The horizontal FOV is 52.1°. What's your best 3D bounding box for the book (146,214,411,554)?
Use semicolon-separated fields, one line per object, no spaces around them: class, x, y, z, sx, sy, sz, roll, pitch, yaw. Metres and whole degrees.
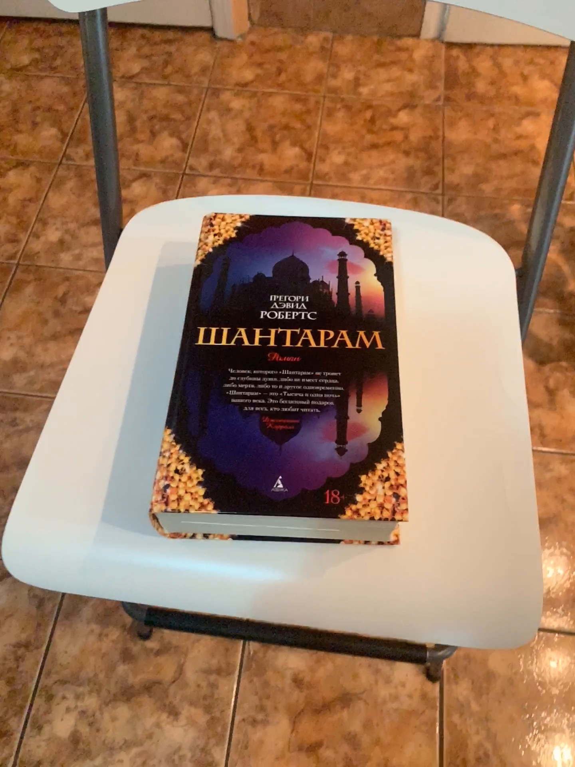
book;0.001;-0.013;0.400;0.145;0.044;0.237;2;60;3
